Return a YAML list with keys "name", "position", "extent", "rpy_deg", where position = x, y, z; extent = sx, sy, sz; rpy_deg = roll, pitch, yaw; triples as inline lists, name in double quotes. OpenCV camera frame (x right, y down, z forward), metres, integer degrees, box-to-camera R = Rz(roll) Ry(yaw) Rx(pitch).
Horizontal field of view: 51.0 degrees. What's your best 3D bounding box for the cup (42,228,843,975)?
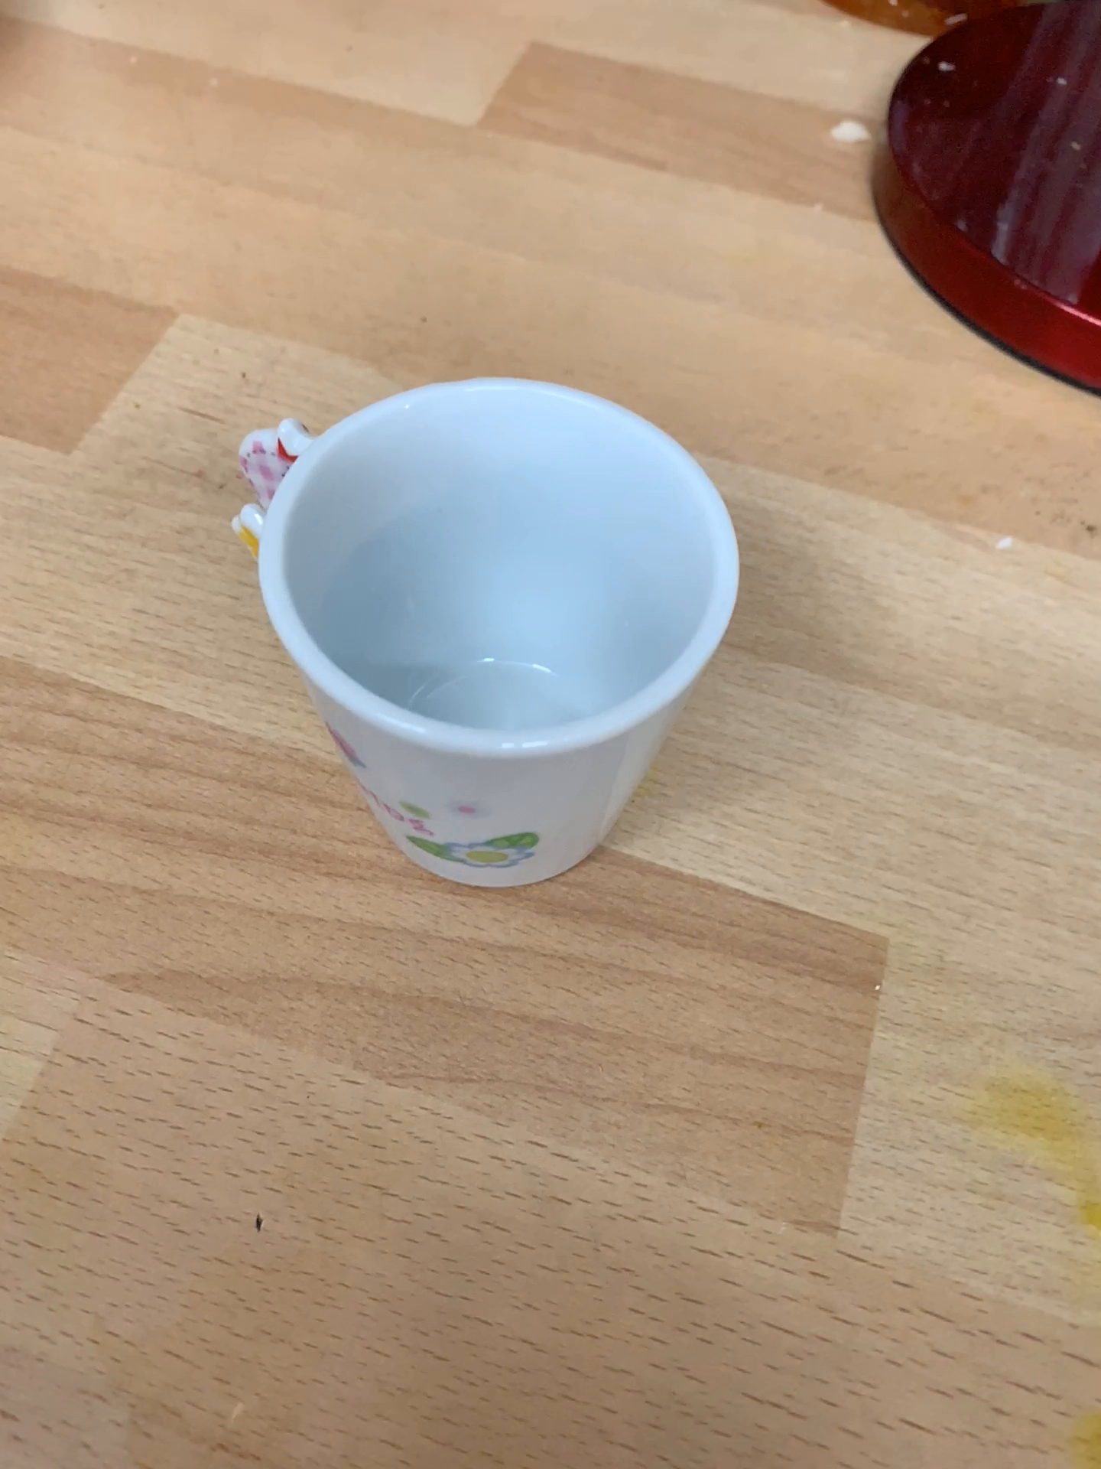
- name: "cup"
  position: [-0.014, -0.020, 0.166]
  extent: [0.080, 0.050, 0.060]
  rpy_deg: [32, 61, 16]
